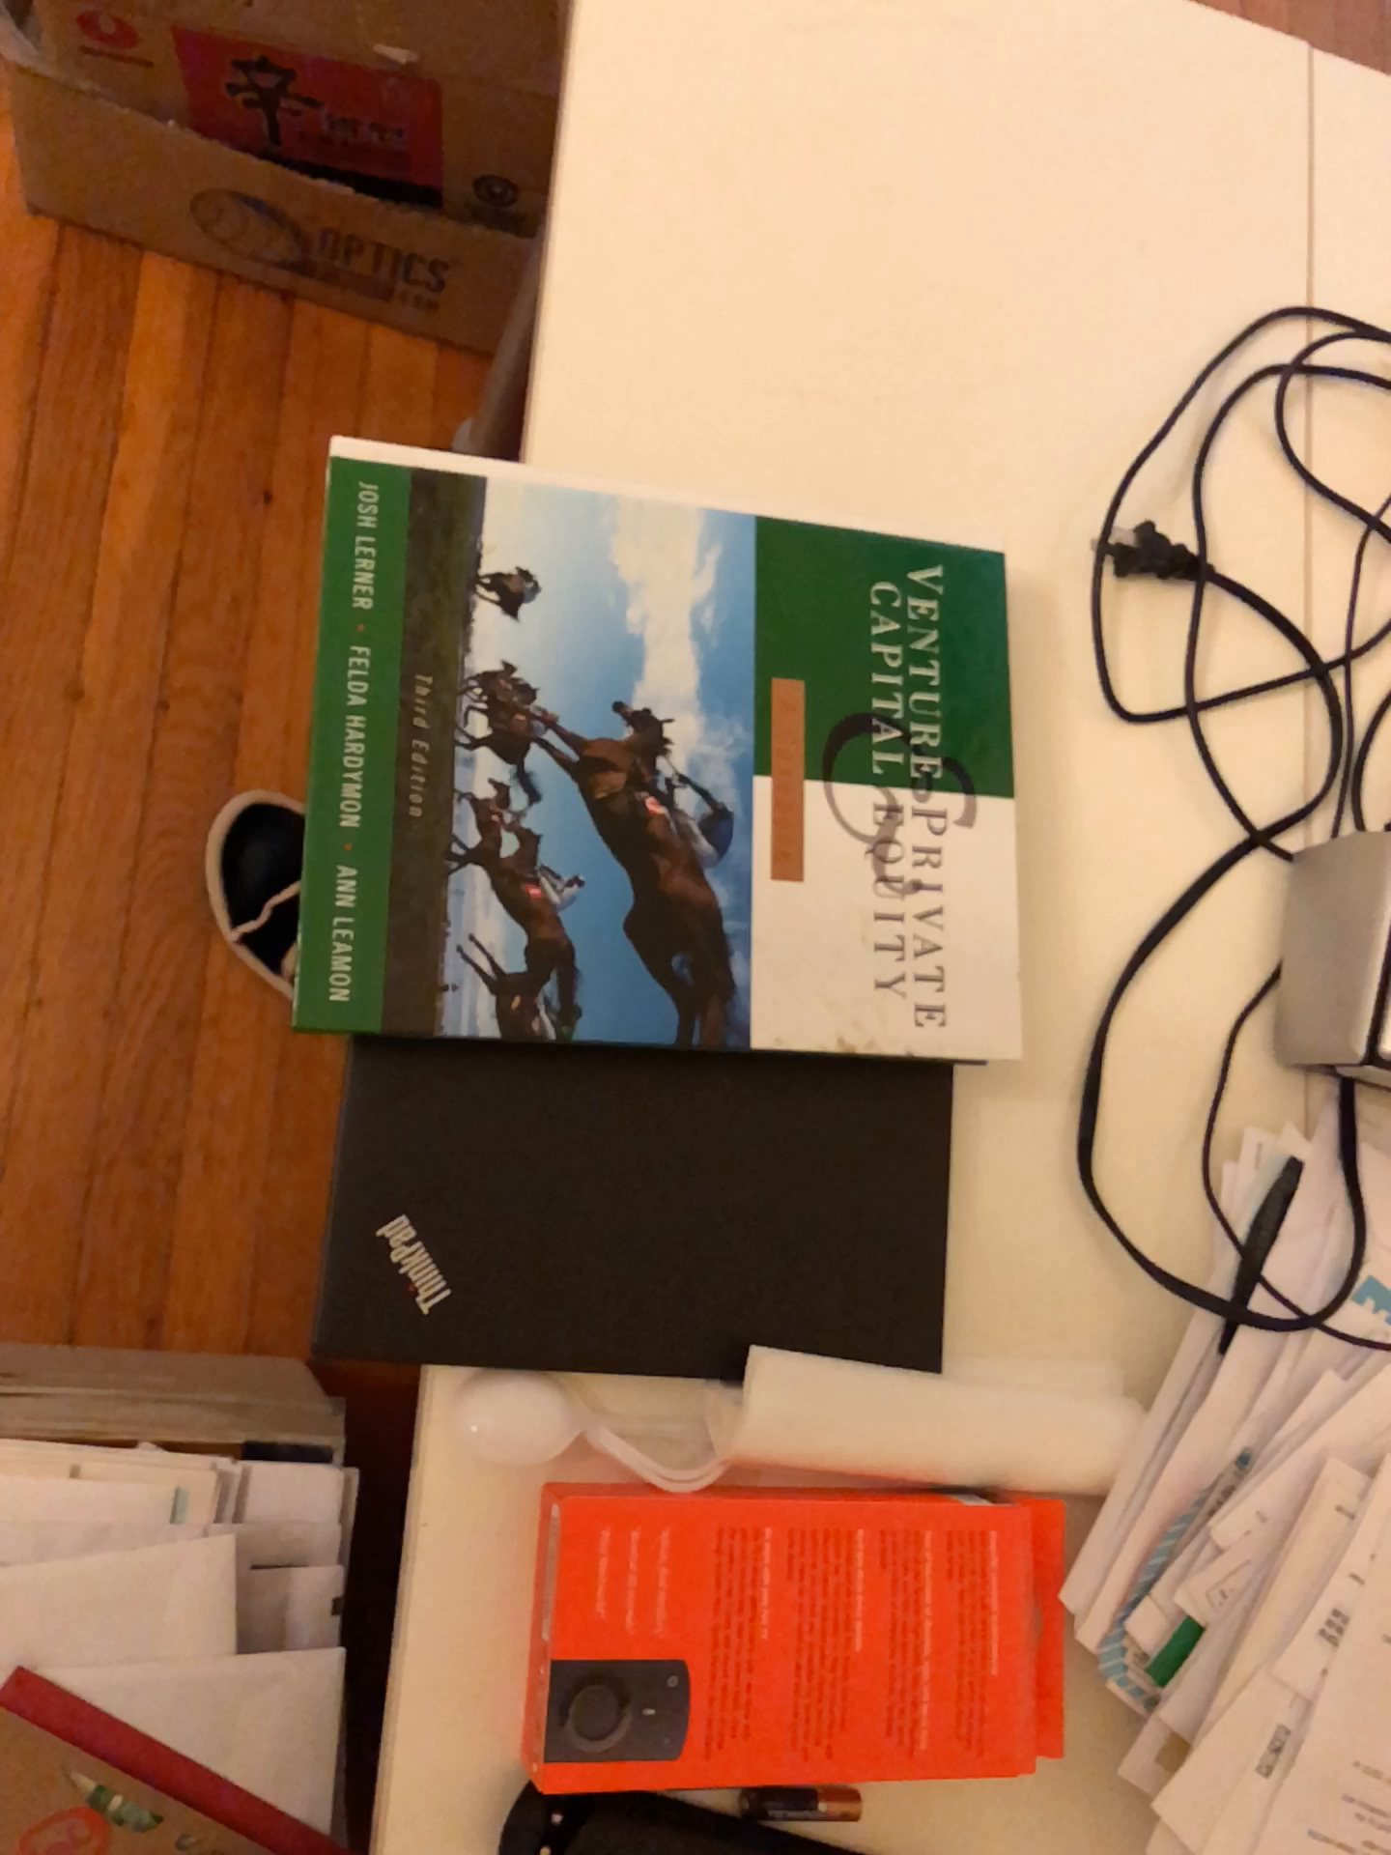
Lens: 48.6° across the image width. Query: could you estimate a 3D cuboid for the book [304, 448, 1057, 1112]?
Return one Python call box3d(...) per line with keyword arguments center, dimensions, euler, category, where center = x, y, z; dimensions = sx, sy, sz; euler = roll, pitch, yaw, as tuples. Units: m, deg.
box3d(center=(0.002, -0.047, 0.566), dimensions=(0.270, 0.030, 0.220), euler=(4, 80, -16), category="book")
